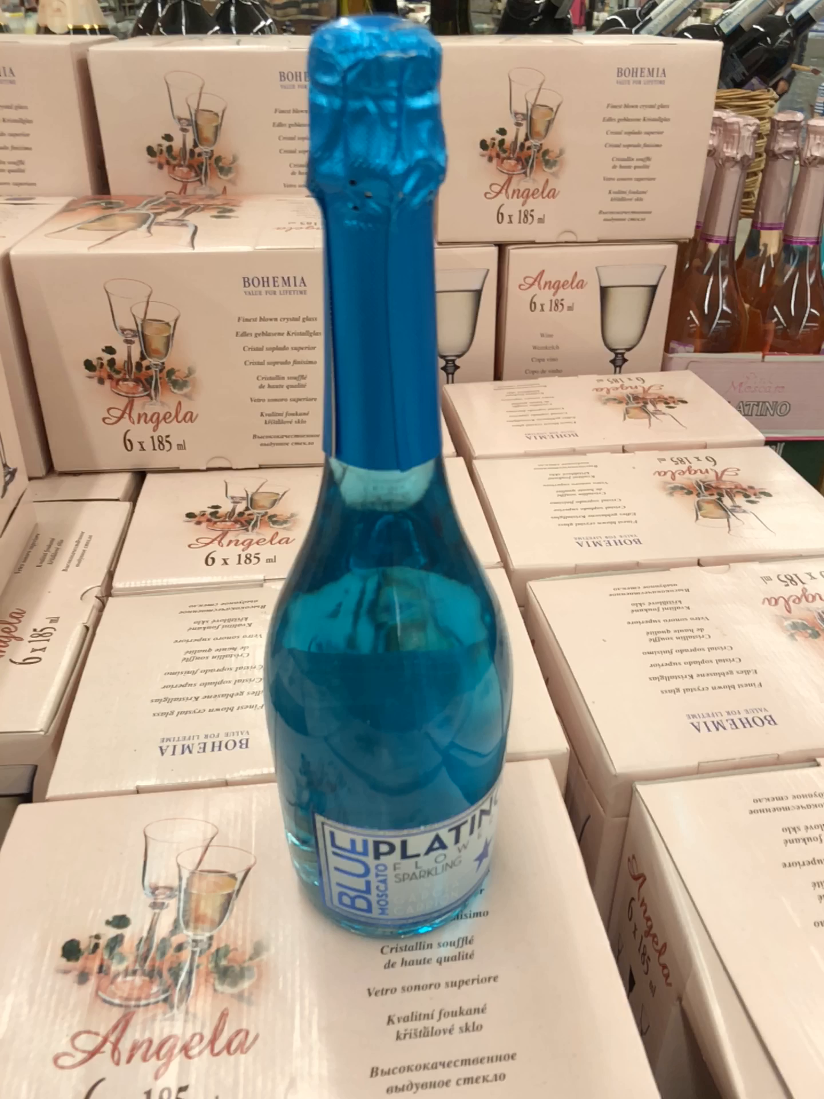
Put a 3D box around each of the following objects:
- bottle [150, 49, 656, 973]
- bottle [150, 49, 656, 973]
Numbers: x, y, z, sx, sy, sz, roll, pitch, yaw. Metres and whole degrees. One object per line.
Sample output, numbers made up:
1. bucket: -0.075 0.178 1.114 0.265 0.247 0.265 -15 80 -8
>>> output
1. bottle: -0.010 -0.006 0.302 0.100 0.278 0.100 0 30 0
2. bottle: -0.010 -0.006 0.302 0.100 0.278 0.100 0 30 0
